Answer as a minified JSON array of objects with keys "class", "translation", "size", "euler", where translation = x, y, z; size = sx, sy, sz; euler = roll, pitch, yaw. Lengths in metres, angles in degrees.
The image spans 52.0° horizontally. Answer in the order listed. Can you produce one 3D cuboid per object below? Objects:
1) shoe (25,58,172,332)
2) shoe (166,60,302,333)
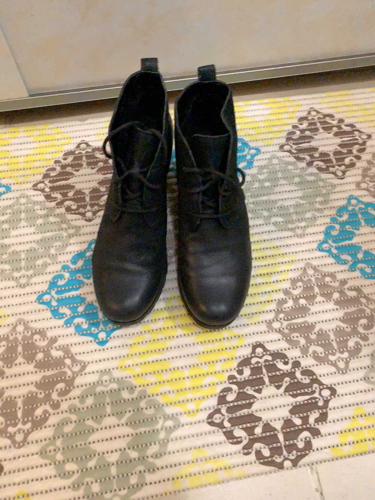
[{"class":"shoe","translation":[-0.069,-0.050,0.395],"size":[0.090,0.150,0.230],"euler":[3,65,0]},{"class":"shoe","translation":[0.029,-0.049,0.394],"size":[0.090,0.150,0.230],"euler":[-3,65,-3]}]
